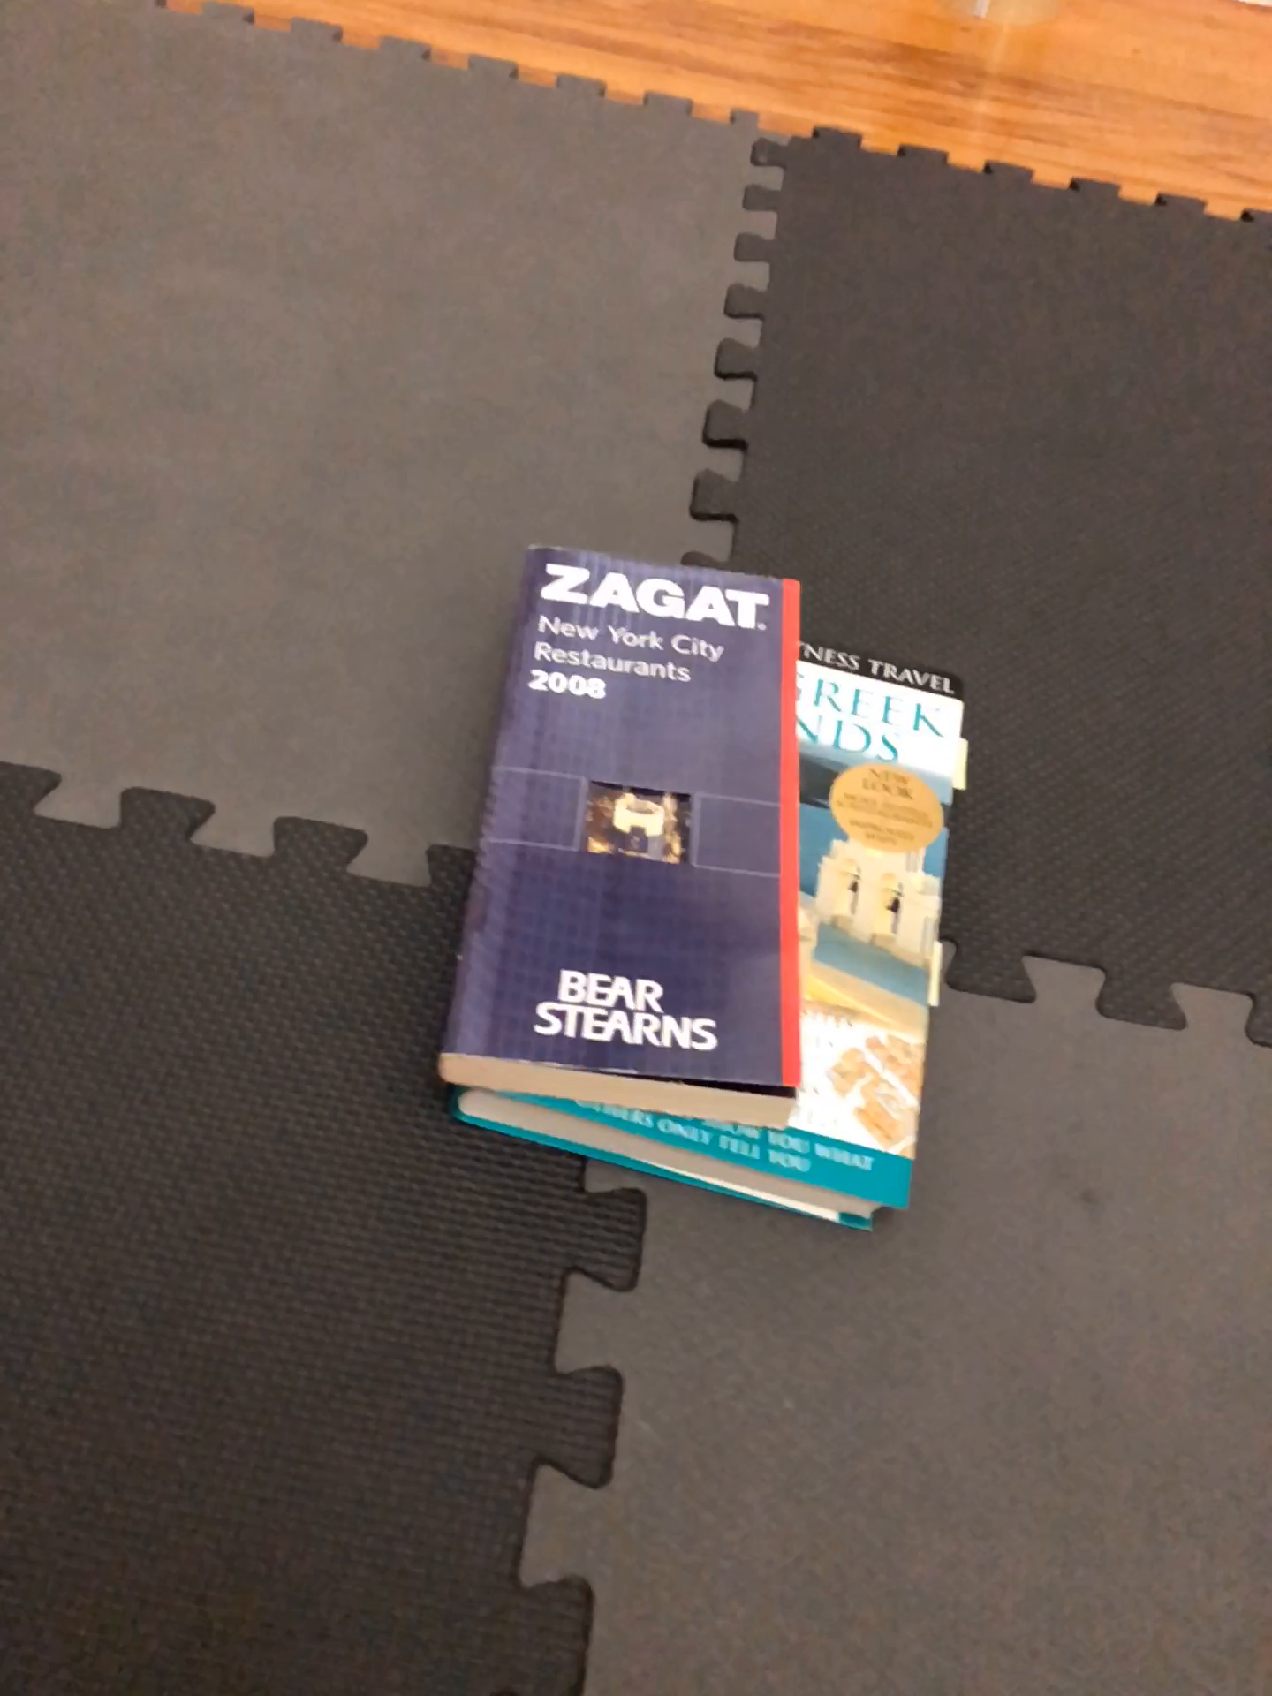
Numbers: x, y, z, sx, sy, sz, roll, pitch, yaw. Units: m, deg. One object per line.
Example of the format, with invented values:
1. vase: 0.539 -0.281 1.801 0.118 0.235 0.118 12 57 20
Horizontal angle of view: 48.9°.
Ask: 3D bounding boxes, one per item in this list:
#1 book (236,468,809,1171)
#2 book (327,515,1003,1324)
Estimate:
1. book: -0.022 -0.025 0.450 0.150 0.020 0.251 7 52 -3
2. book: 0.026 0.003 0.459 0.170 0.030 0.261 14 52 2
